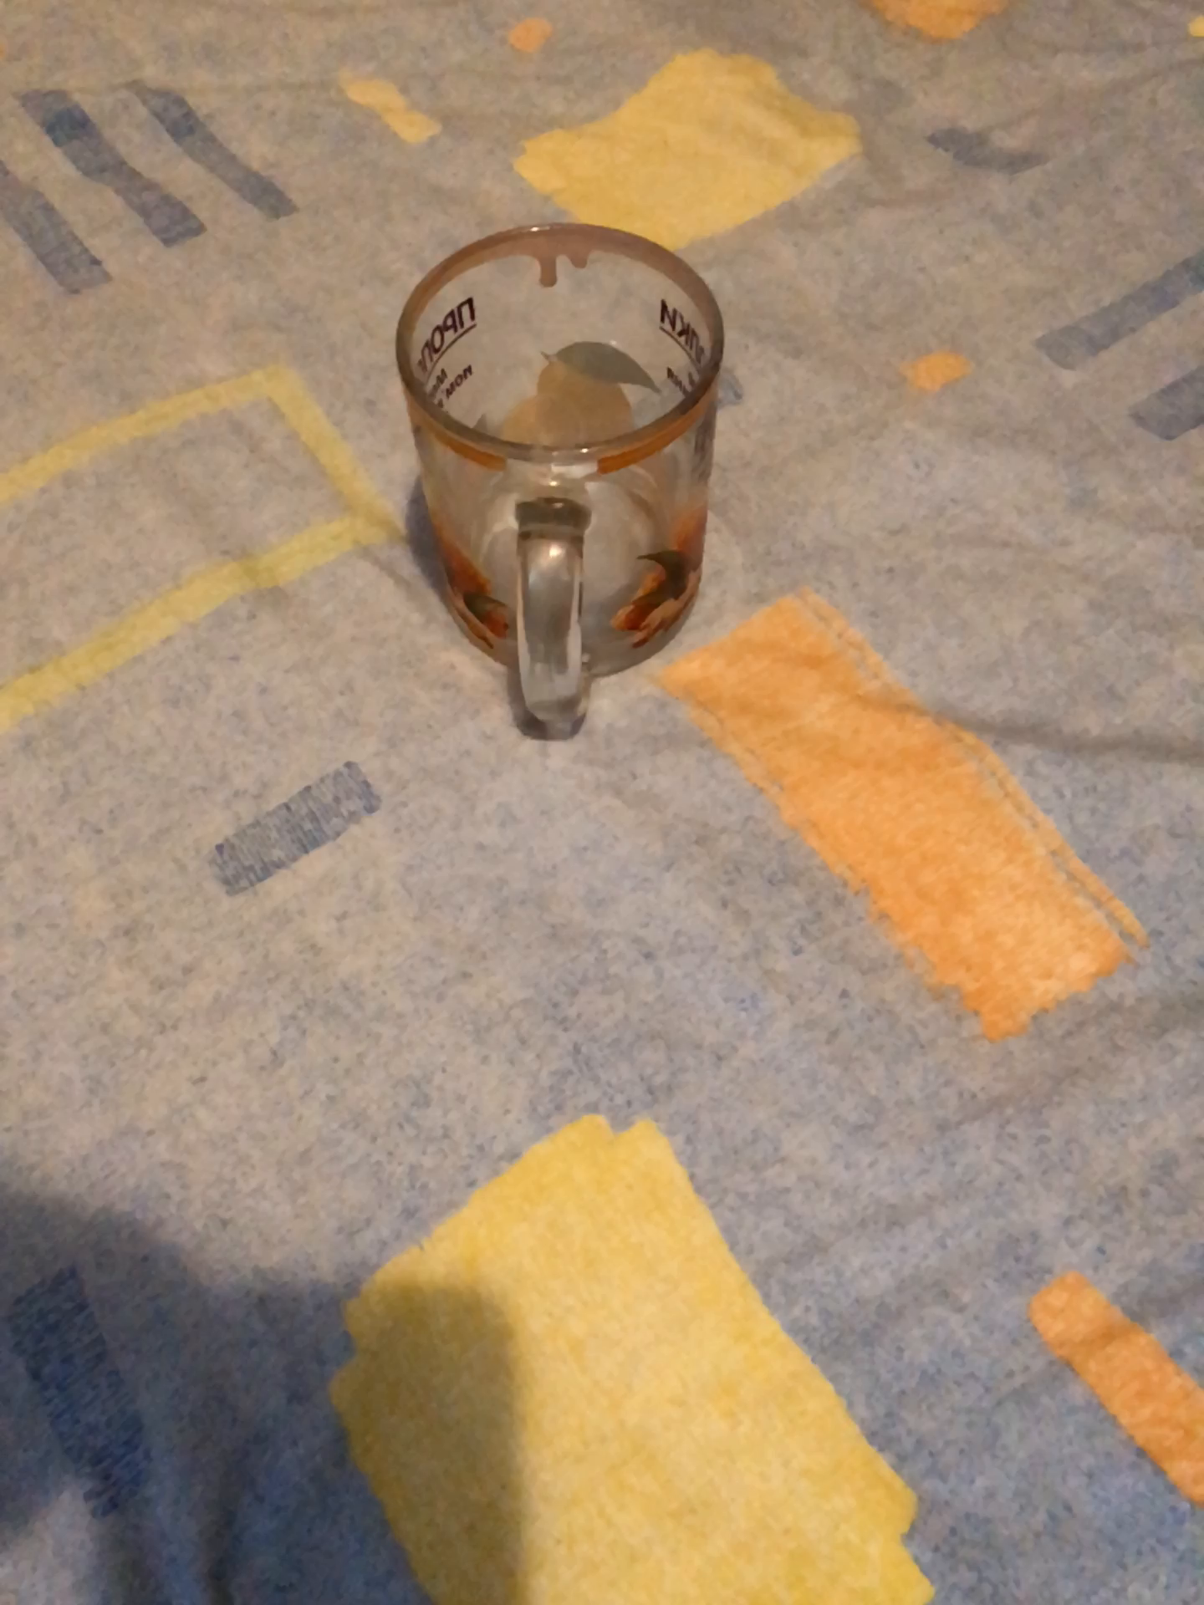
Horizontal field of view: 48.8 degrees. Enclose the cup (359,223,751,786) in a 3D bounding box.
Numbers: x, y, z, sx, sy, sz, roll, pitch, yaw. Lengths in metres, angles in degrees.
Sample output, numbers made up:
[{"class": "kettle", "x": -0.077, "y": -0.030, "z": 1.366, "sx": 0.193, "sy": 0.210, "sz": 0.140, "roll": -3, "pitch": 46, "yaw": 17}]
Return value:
[{"class": "cup", "x": -0.012, "y": -0.076, "z": 0.352, "sx": 0.084, "sy": 0.092, "sz": 0.110, "roll": -2, "pitch": 60, "yaw": -1}]
